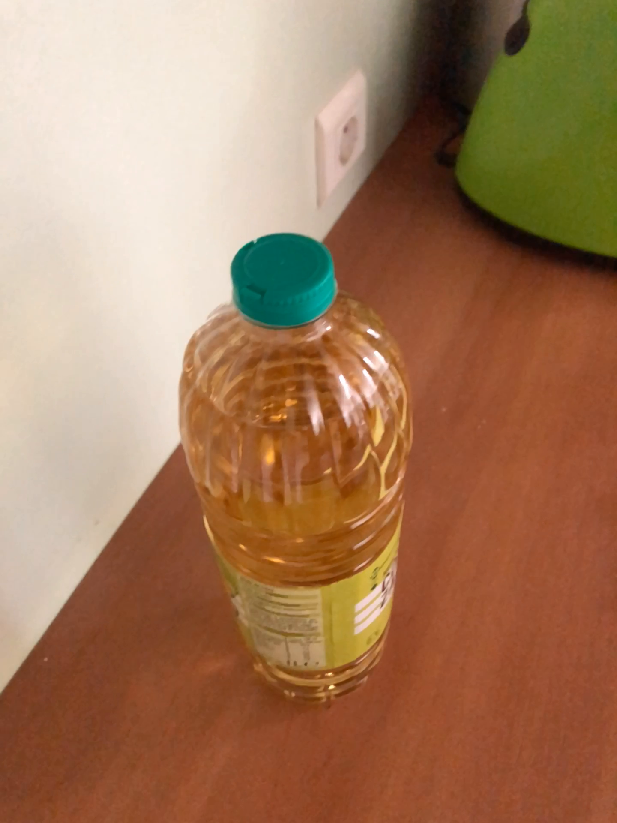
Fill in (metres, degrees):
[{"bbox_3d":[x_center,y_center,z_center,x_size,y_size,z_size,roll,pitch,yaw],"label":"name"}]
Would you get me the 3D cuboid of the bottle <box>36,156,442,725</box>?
[{"bbox_3d":[-0.009,0.042,0.296,0.090,0.269,0.091,-1,52,1],"label":"bottle"}]
